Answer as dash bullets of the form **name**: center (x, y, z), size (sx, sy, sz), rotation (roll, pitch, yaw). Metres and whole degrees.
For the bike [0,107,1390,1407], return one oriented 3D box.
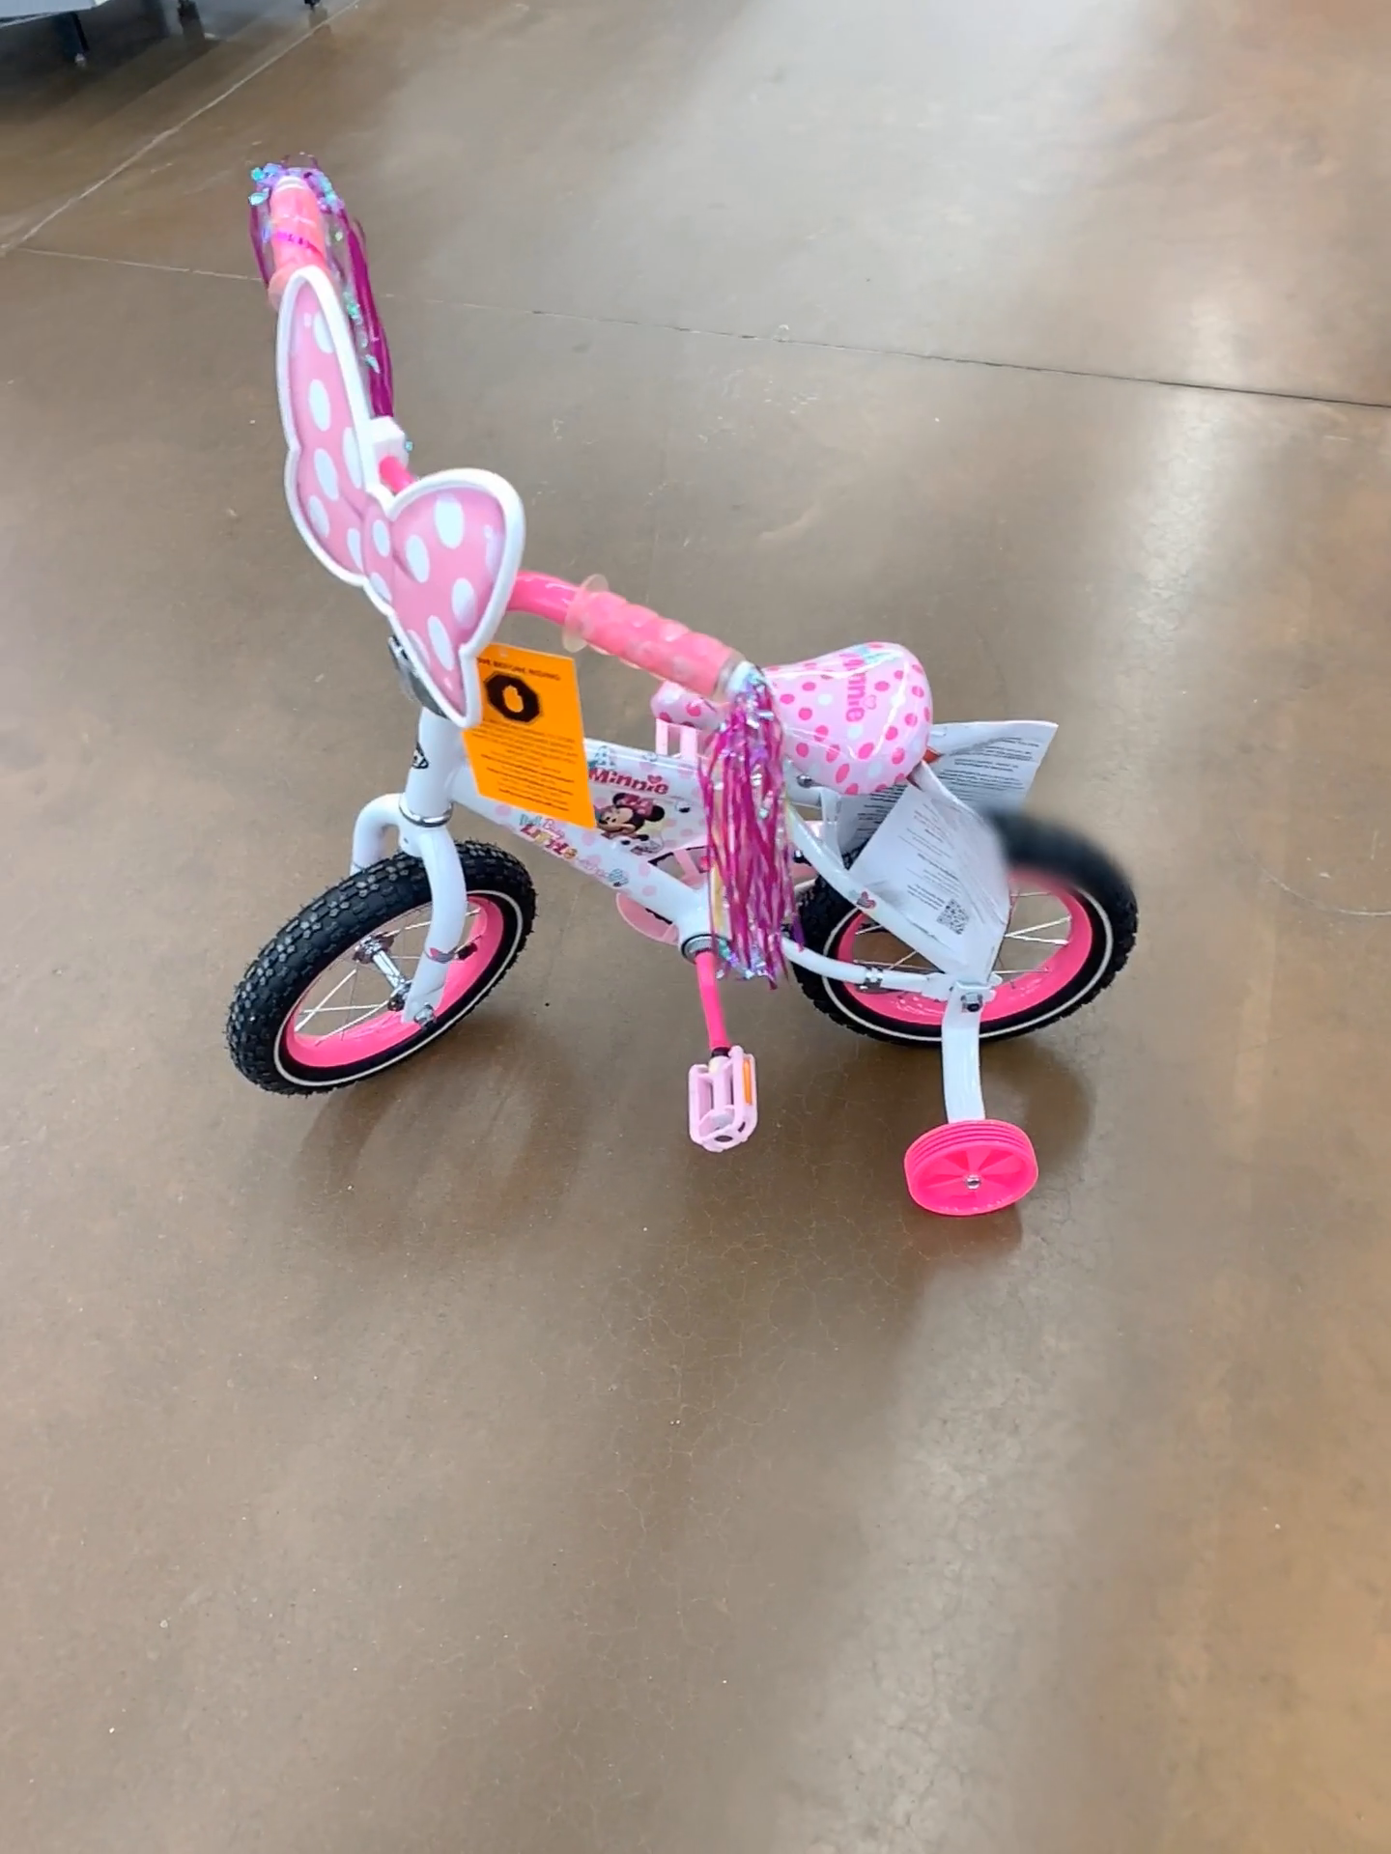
- **bike**: center (-0.003, -0.081, 1.020), size (0.759, 0.750, 0.445), rotation (-11, 49, -7)
